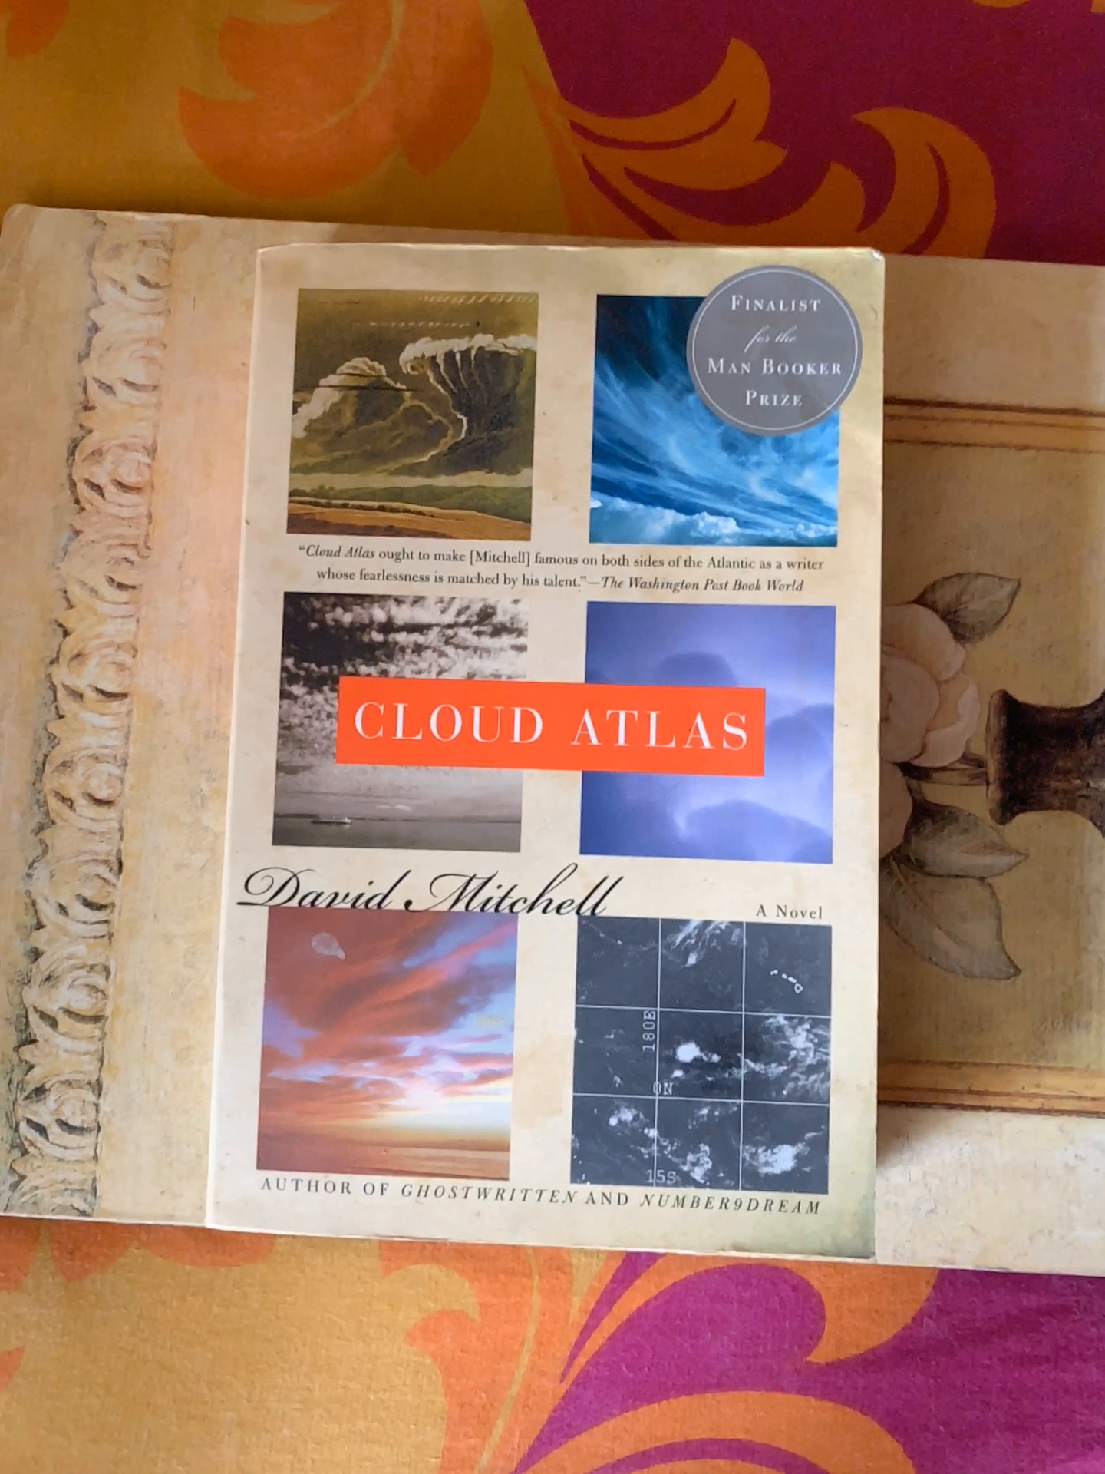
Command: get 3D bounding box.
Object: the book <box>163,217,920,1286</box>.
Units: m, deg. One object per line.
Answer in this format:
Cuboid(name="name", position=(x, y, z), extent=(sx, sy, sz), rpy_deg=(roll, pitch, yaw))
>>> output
Cuboid(name="book", position=(0.000, -0.002, 0.229), extent=(0.130, 0.040, 0.190), rpy_deg=(2, 86, 4))
